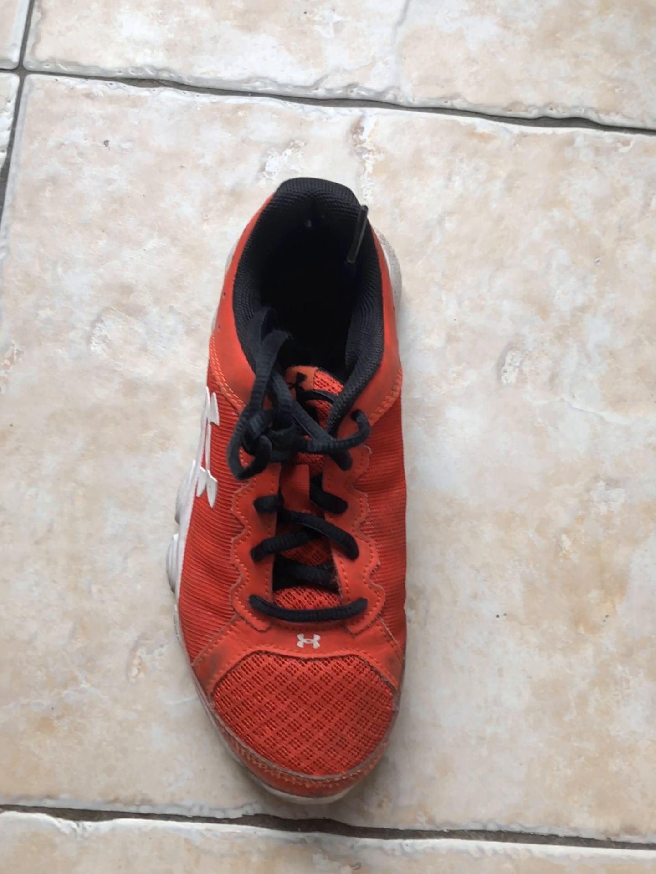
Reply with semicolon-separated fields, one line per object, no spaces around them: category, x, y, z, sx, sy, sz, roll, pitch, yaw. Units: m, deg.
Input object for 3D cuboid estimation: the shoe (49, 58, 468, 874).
shoe;-0.014;0.015;0.248;0.100;0.100;0.240;3;81;-1
